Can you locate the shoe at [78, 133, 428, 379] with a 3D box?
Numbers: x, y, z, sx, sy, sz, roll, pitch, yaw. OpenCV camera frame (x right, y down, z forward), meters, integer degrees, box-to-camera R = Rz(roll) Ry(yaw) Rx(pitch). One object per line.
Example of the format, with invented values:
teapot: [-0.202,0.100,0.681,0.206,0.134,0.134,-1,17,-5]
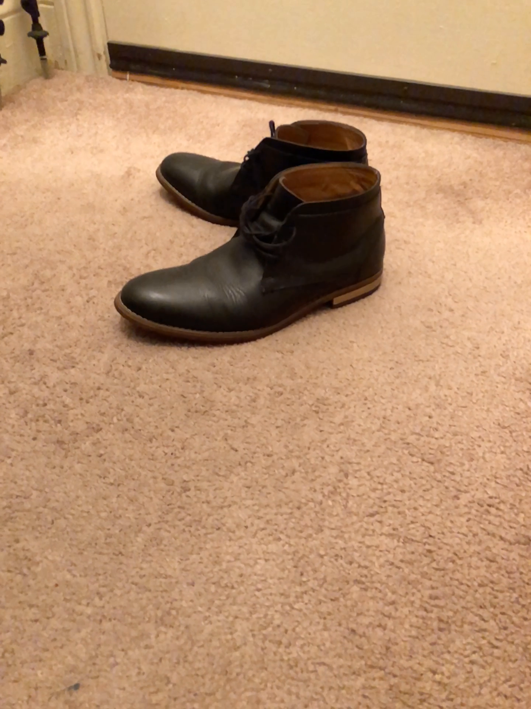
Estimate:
shoe: [-0.009,-0.107,0.585,0.303,0.135,0.117,-18,47,-20]

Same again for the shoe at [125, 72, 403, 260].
shoe: [-0.002,-0.239,0.727,0.302,0.135,0.117,16,45,14]
